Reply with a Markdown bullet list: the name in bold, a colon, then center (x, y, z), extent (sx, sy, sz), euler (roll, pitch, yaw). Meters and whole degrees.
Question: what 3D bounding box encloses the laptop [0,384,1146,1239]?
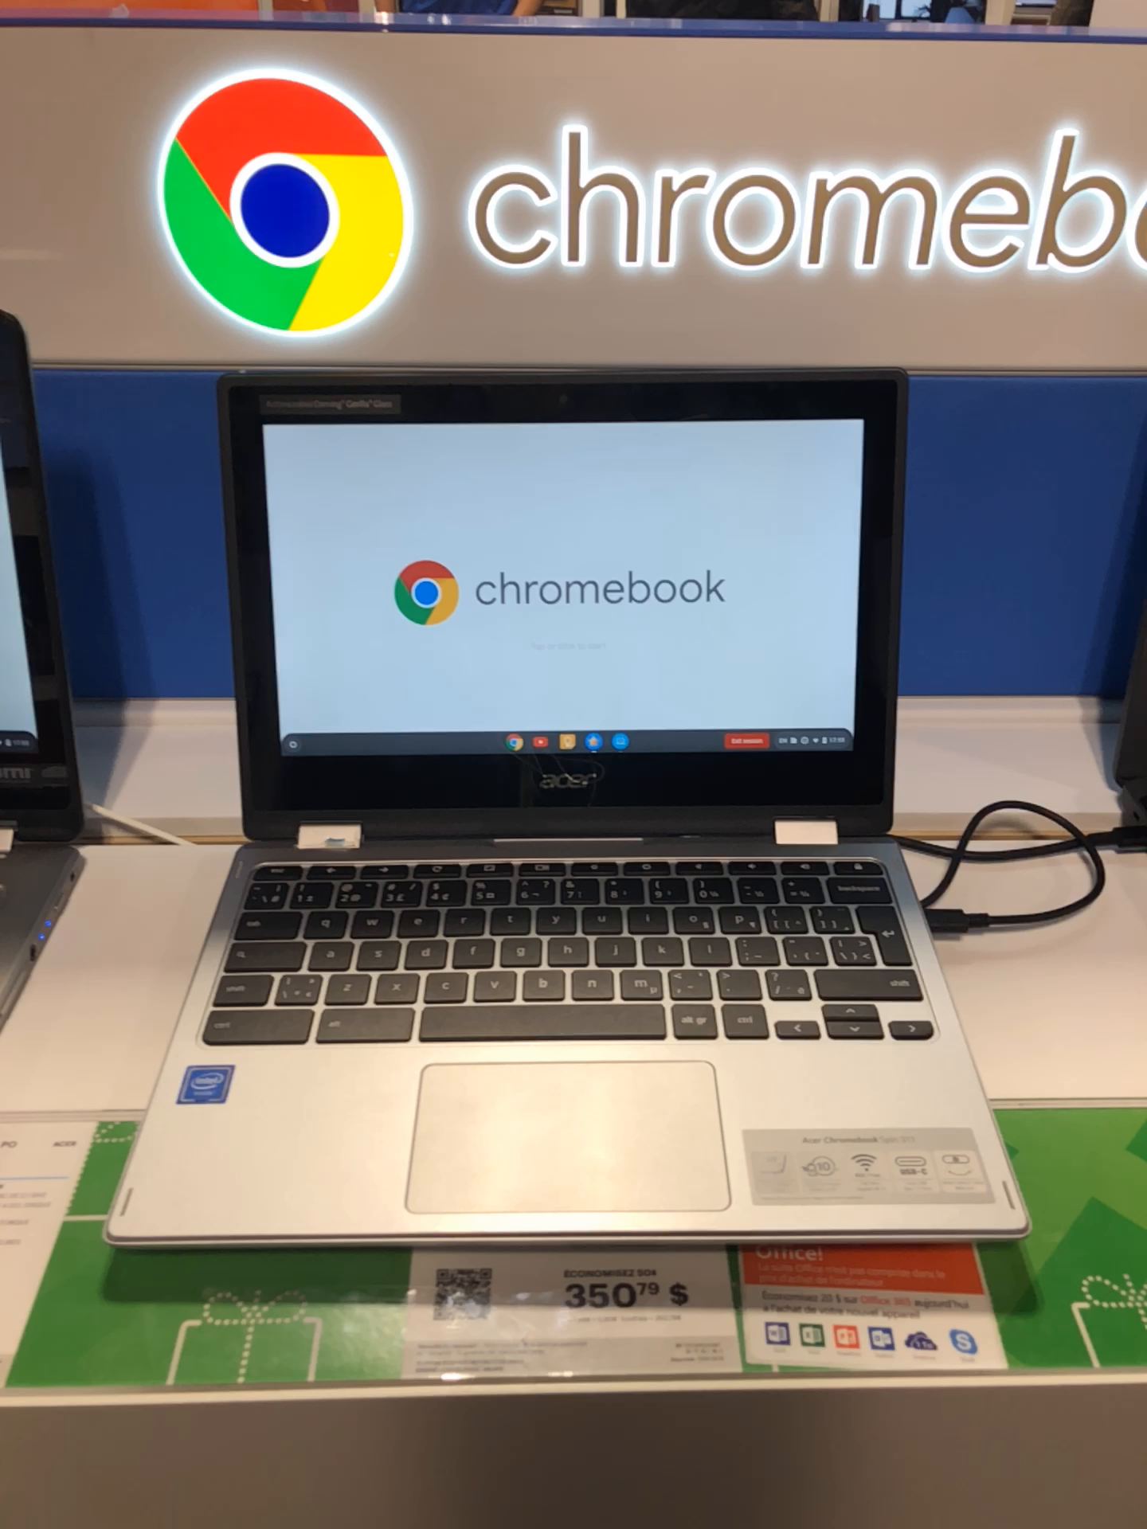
- **laptop**: center (-0.002, -0.005, 0.457), extent (0.284, 0.181, 0.274), euler (0, 34, -1)
